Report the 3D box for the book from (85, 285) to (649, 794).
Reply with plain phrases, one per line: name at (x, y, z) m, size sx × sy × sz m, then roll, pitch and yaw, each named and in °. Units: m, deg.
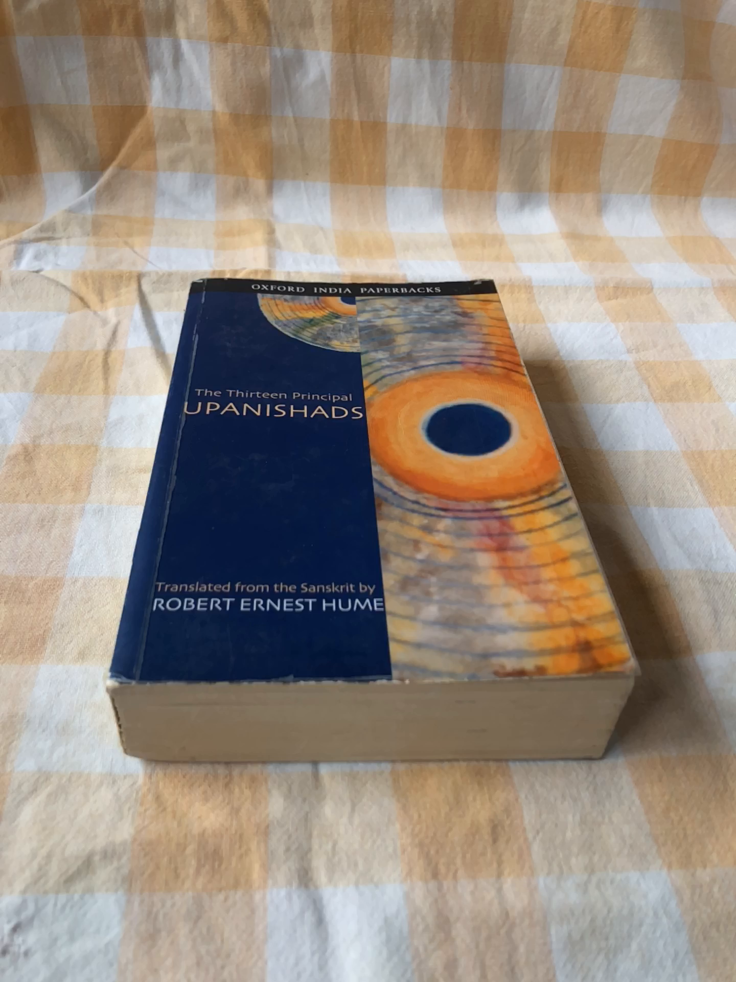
book at (-0.006, -0.003, 0.293) m, size 0.140 × 0.040 × 0.211 m, roll 1°, pitch 42°, yaw -5°
